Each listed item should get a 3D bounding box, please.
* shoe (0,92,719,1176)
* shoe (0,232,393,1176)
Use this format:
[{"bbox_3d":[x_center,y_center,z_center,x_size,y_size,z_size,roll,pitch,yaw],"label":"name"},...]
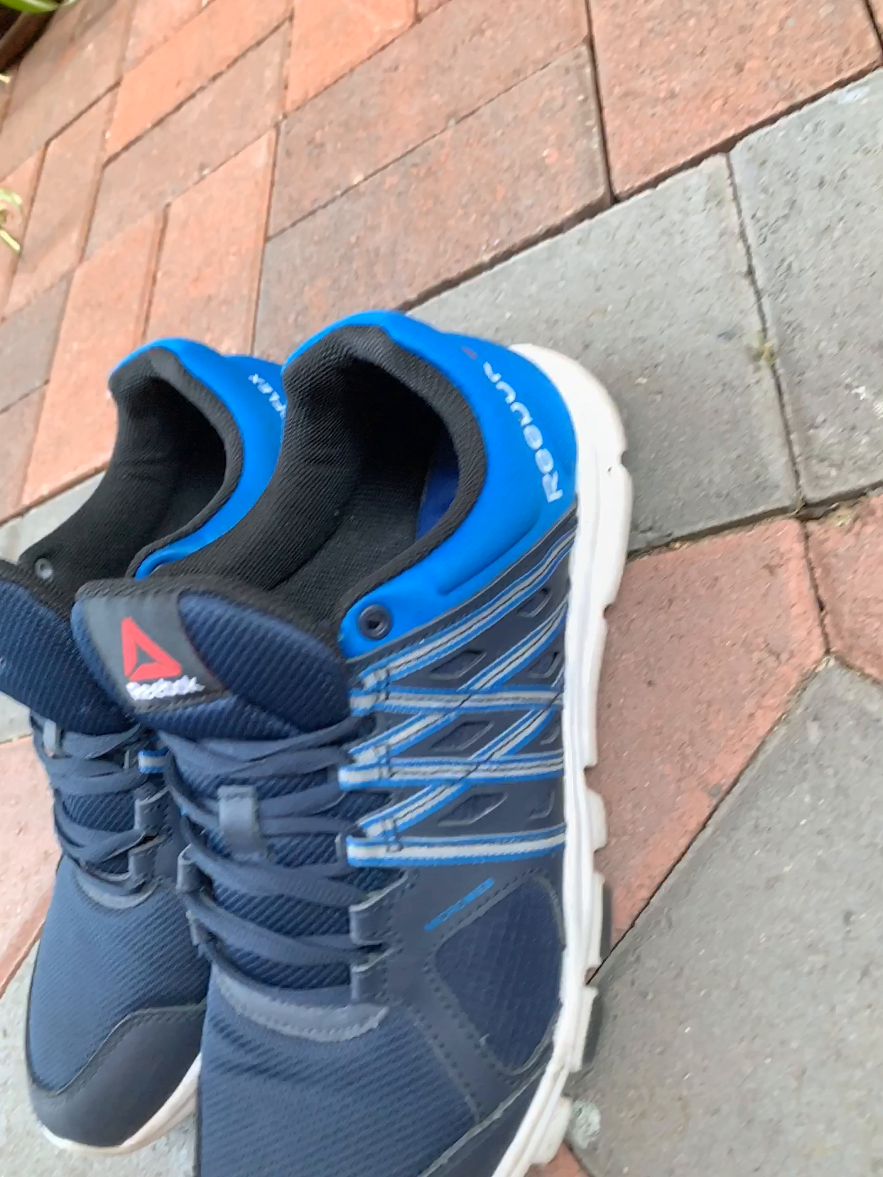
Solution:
[{"bbox_3d":[-0.024,0.045,0.238,0.111,0.119,0.281,1,71,39],"label":"shoe"},{"bbox_3d":[-0.125,0.042,0.302,0.111,0.119,0.261,1,71,39],"label":"shoe"}]
